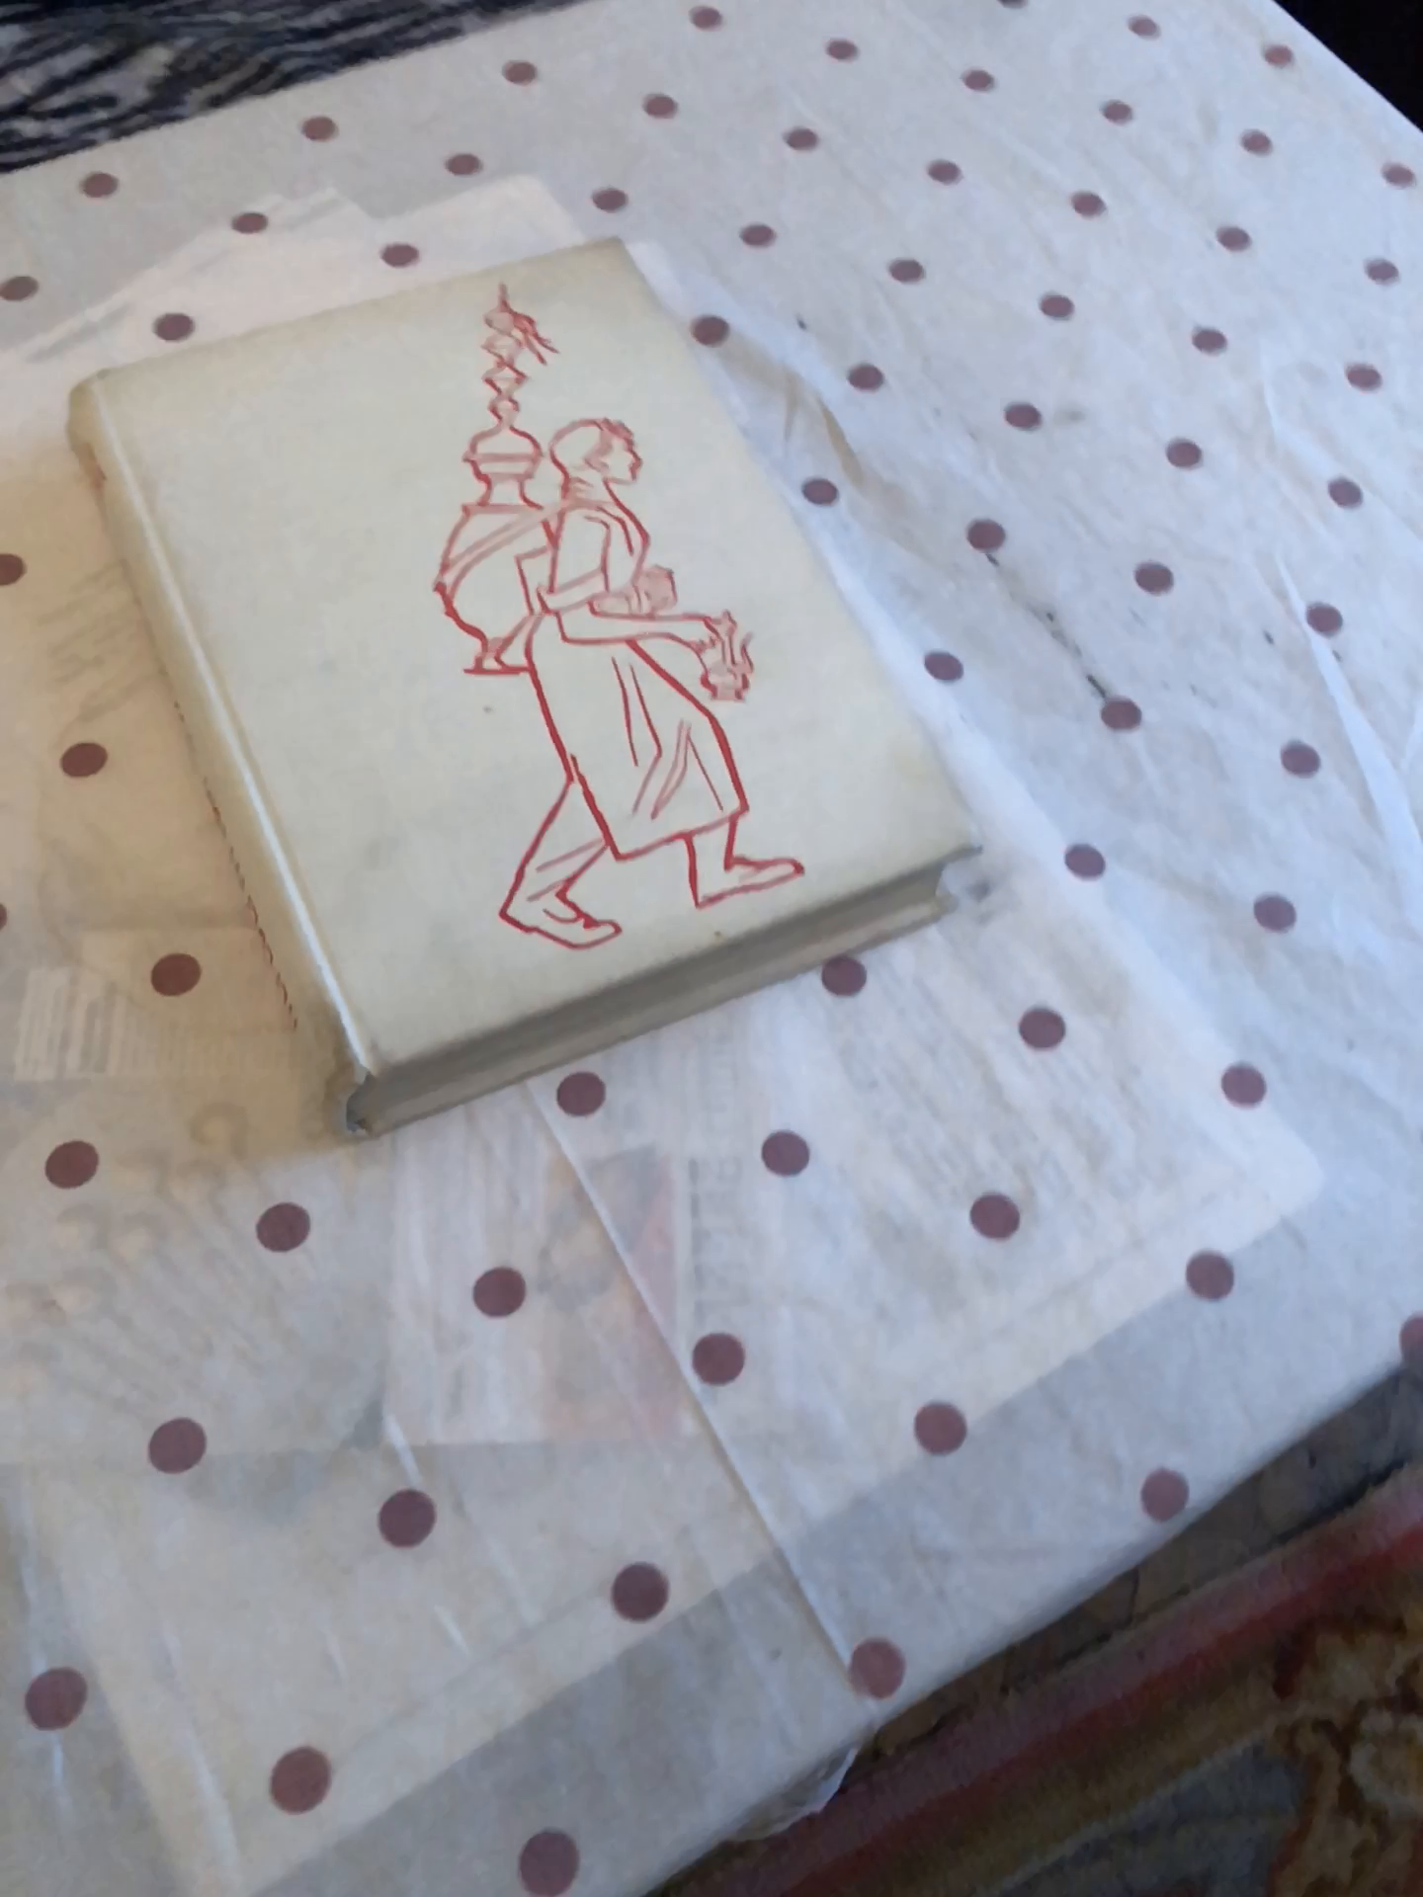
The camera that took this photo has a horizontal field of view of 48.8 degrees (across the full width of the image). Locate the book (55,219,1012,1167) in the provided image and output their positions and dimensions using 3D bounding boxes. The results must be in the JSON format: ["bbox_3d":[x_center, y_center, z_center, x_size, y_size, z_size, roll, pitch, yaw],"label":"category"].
[{"bbox_3d":[-0.057,-0.086,0.438,0.174,0.050,0.240,-22,65,-14],"label":"book"}]
